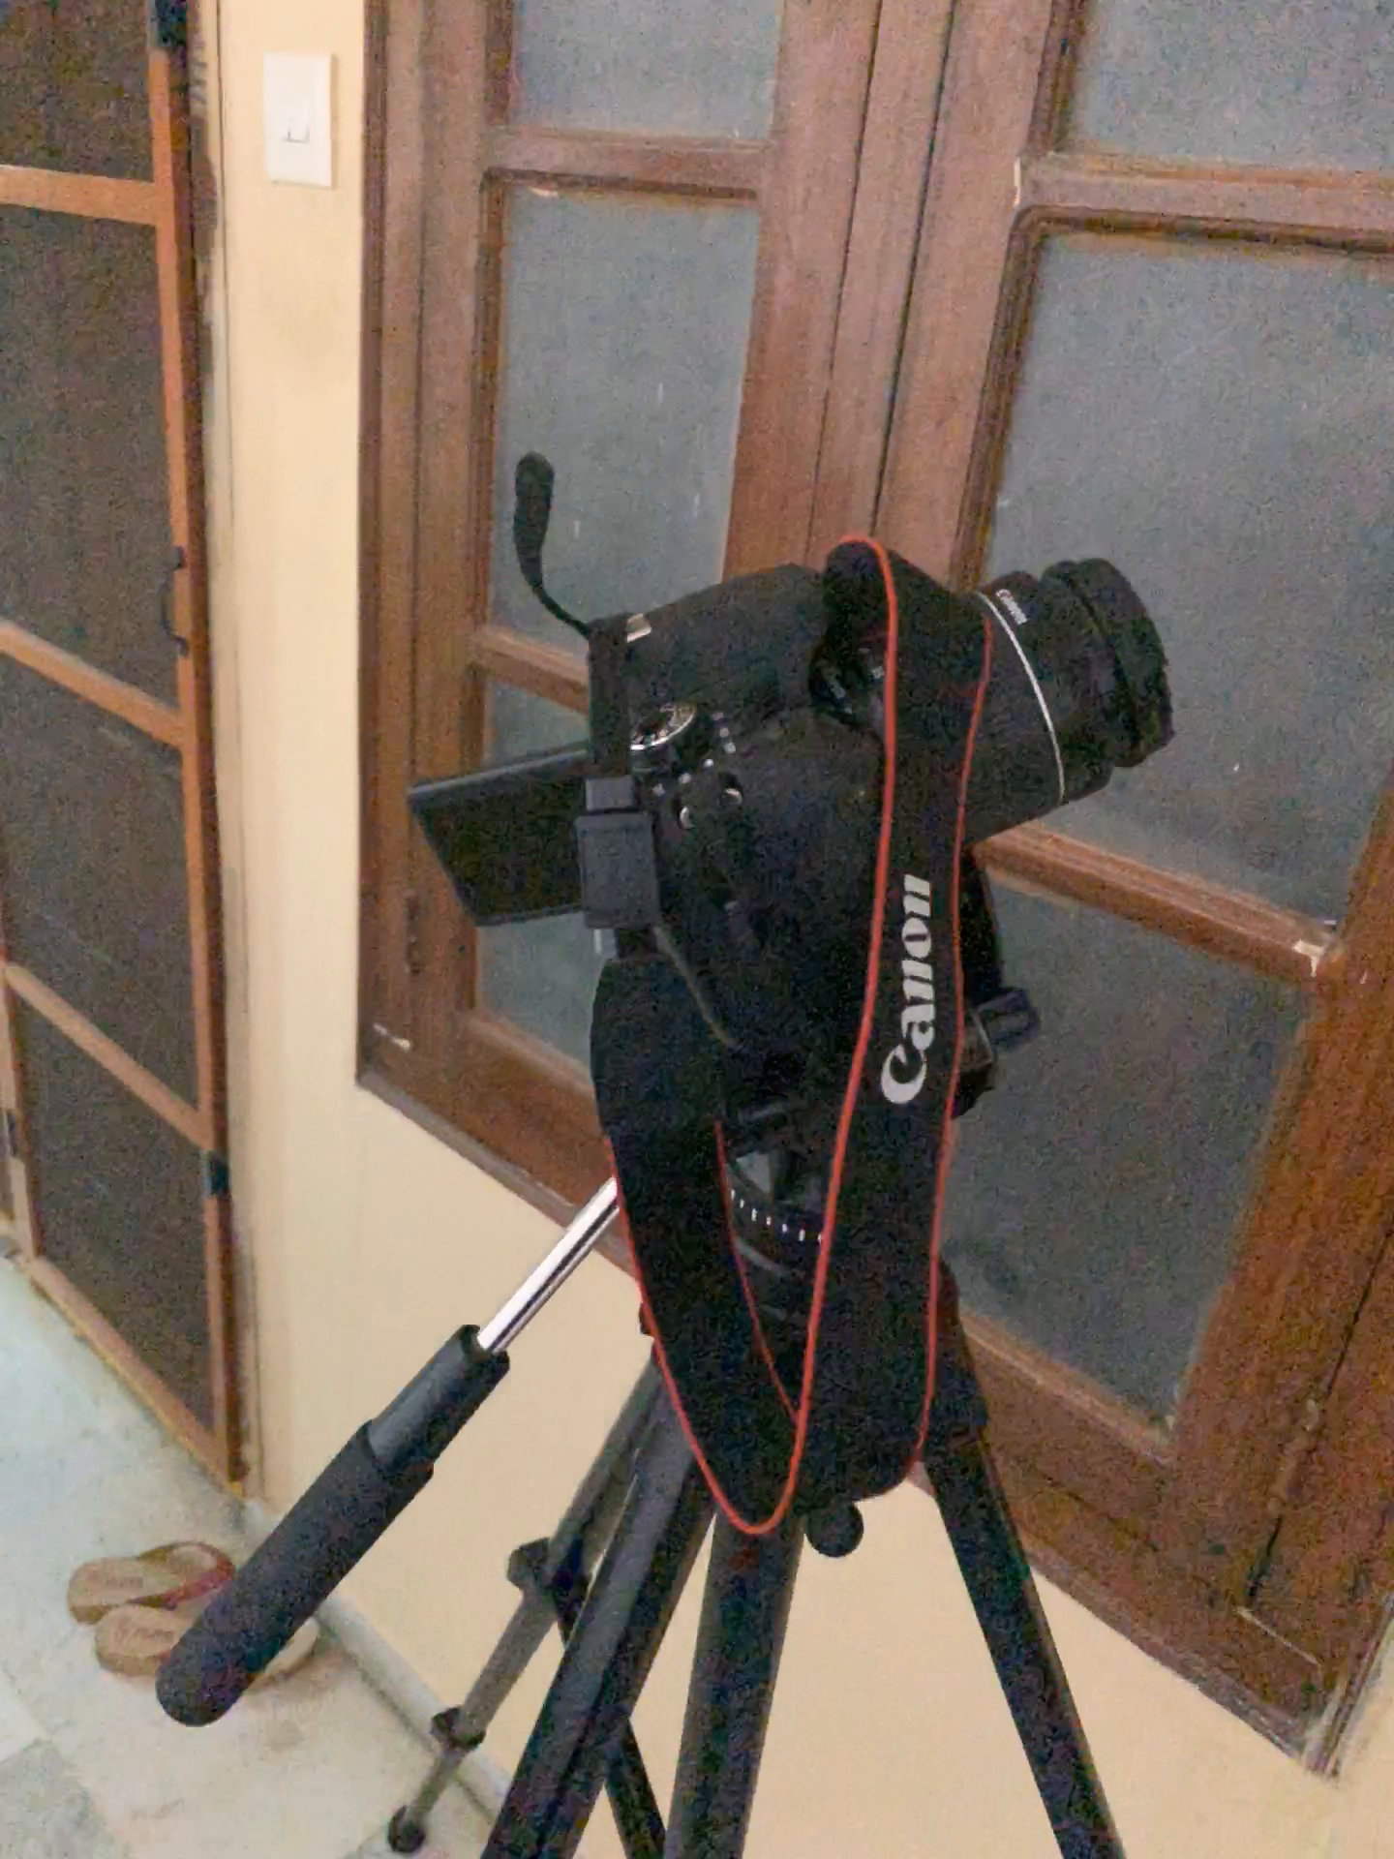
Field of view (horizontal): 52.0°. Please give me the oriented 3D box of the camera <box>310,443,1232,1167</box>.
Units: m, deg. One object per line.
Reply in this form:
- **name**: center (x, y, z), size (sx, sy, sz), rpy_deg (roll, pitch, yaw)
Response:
- **camera**: center (0.014, -0.048, 0.429), size (0.225, 0.100, 0.142), rpy_deg (-21, 28, -2)
